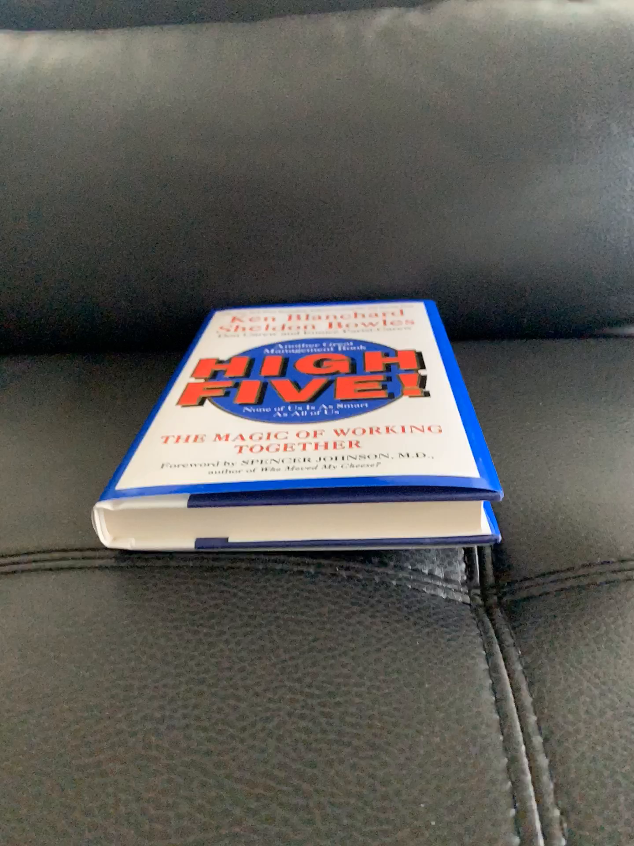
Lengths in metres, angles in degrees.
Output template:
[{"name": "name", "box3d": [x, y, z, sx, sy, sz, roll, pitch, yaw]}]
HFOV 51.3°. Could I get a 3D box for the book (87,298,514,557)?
[{"name": "book", "box3d": [-0.003, -0.015, 0.334, 0.150, 0.023, 0.222, -1, 29, 3]}]
